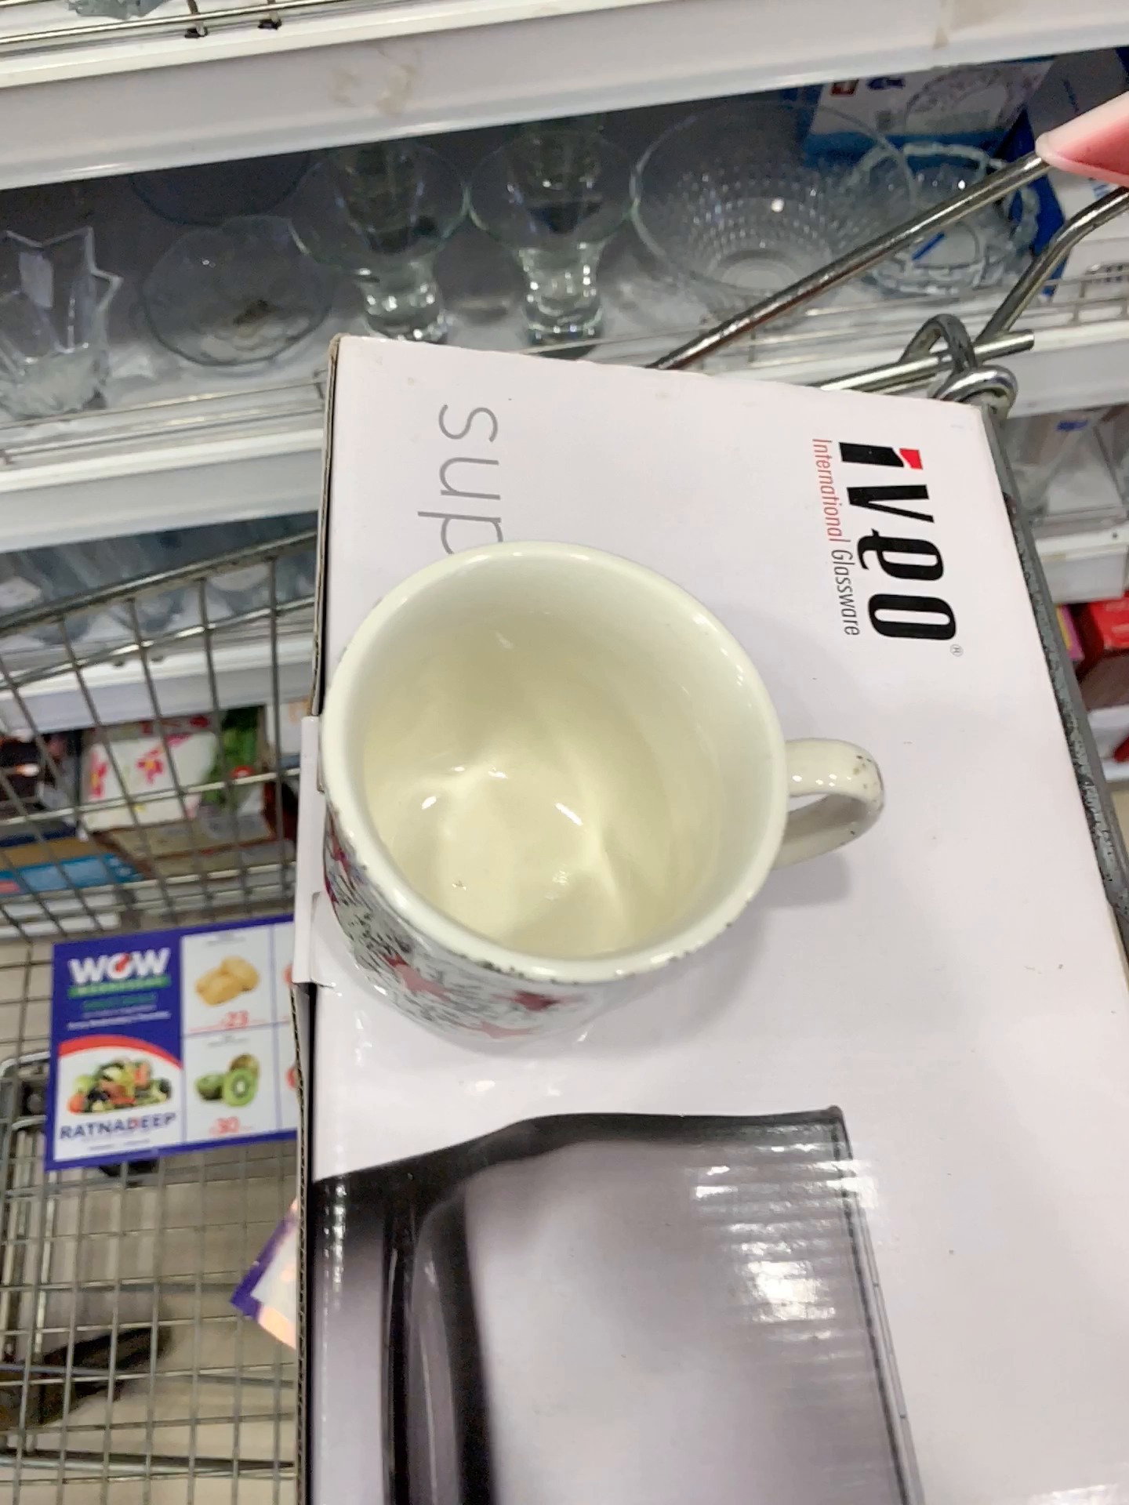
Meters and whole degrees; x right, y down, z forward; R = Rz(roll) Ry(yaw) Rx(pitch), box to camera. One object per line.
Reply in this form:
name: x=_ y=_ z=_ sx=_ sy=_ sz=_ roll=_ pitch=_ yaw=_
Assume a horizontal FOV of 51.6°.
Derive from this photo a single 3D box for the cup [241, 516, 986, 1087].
cup: x=0.002 y=0.016 z=0.200 sx=0.100 sy=0.070 sz=0.070 roll=5 pitch=65 yaw=-18
